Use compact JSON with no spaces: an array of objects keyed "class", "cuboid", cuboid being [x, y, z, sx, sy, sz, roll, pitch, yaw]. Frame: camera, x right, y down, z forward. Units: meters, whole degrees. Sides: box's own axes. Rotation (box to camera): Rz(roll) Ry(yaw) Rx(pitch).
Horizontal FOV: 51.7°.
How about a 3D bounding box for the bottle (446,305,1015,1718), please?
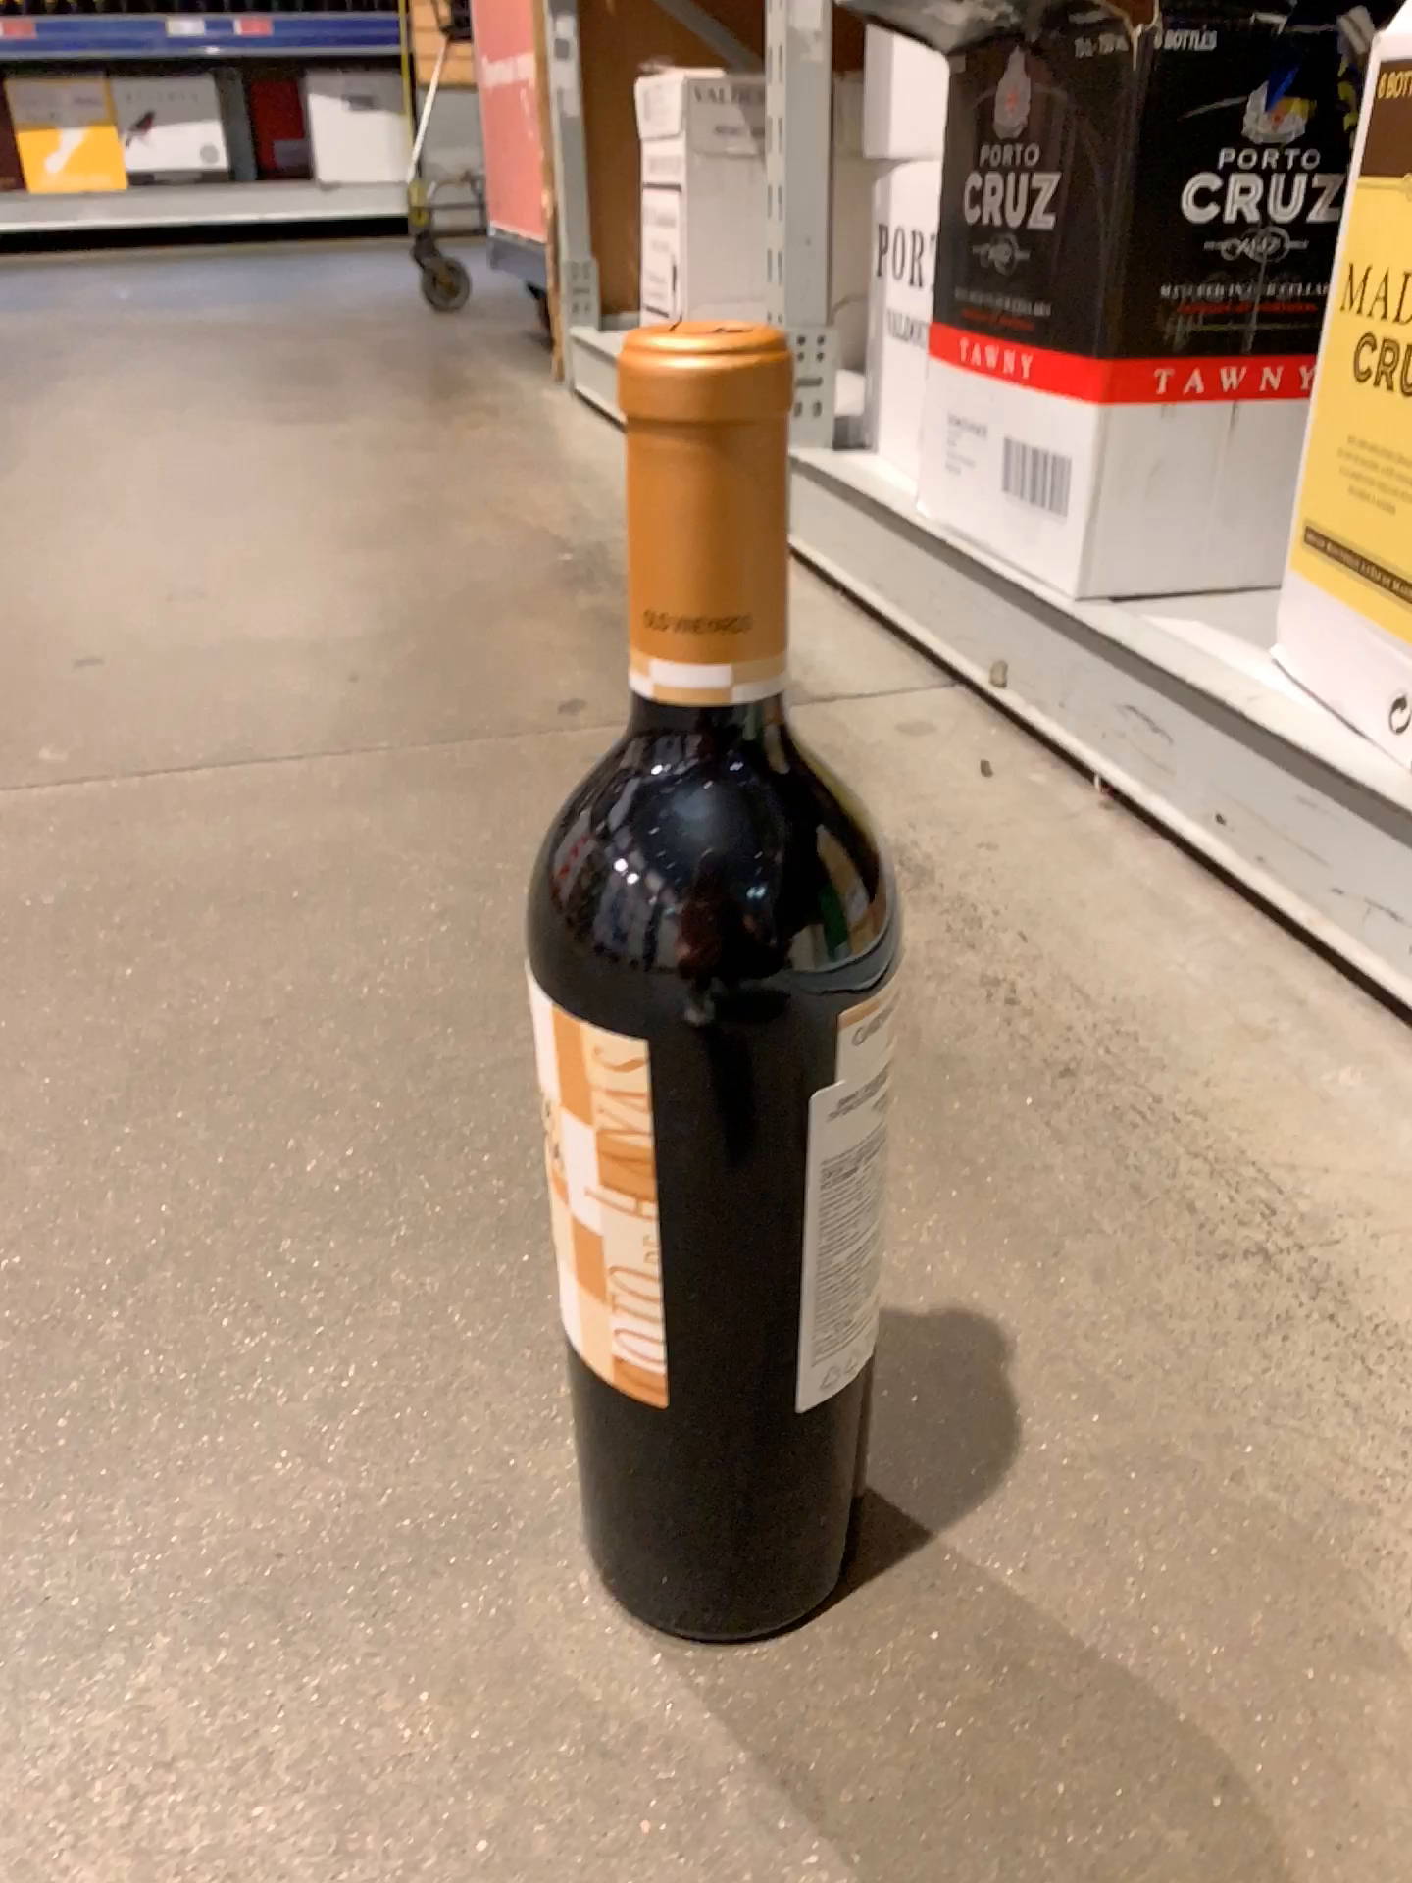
[{"class":"bottle","cuboid":[0.002,0.032,0.334,0.080,0.317,0.080,-1,29,0]}]
